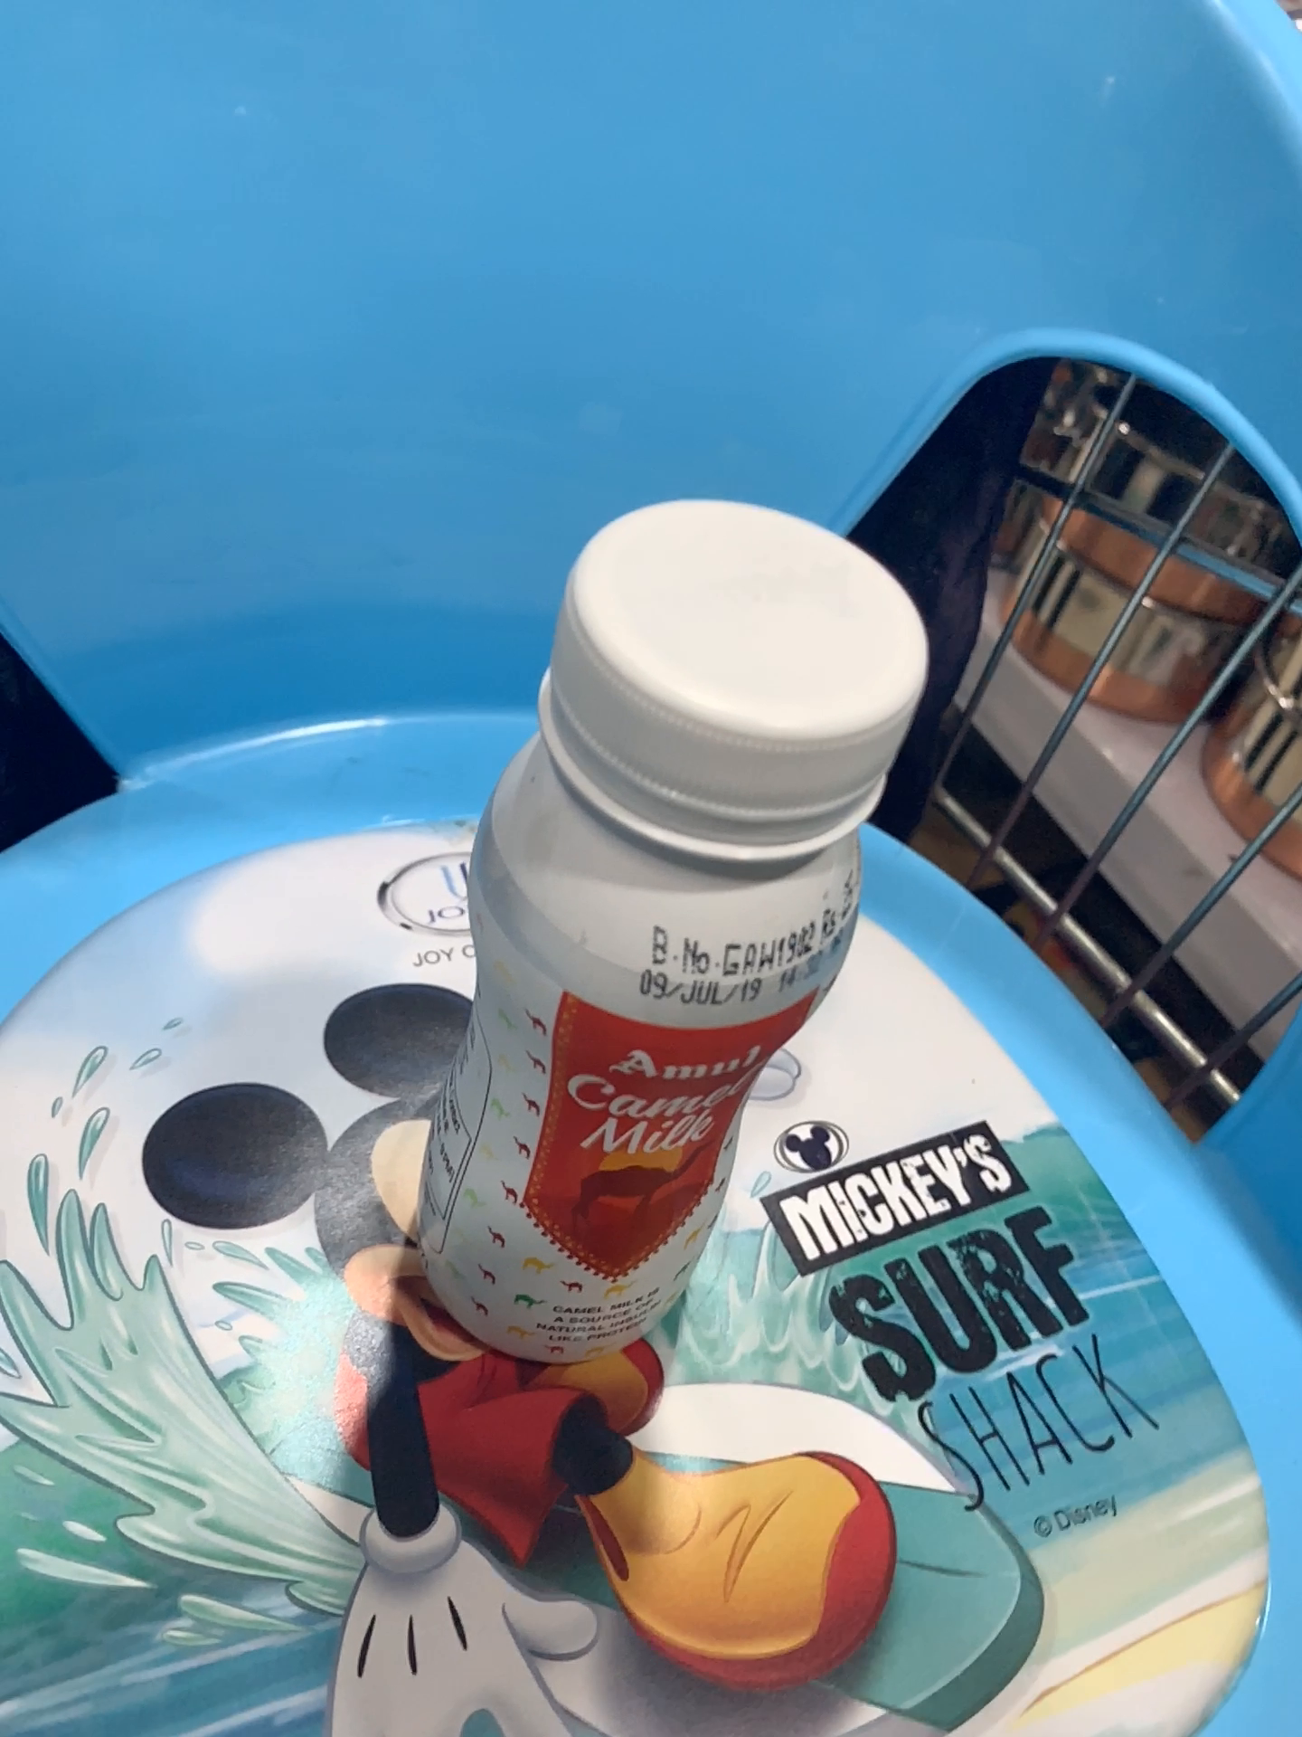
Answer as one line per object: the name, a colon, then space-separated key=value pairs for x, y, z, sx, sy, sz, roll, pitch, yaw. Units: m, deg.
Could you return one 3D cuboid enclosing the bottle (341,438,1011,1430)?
bottle: x=-0.011 y=0.017 z=0.188 sx=0.060 sy=0.130 sz=0.060 roll=7 pitch=44 yaw=-6
